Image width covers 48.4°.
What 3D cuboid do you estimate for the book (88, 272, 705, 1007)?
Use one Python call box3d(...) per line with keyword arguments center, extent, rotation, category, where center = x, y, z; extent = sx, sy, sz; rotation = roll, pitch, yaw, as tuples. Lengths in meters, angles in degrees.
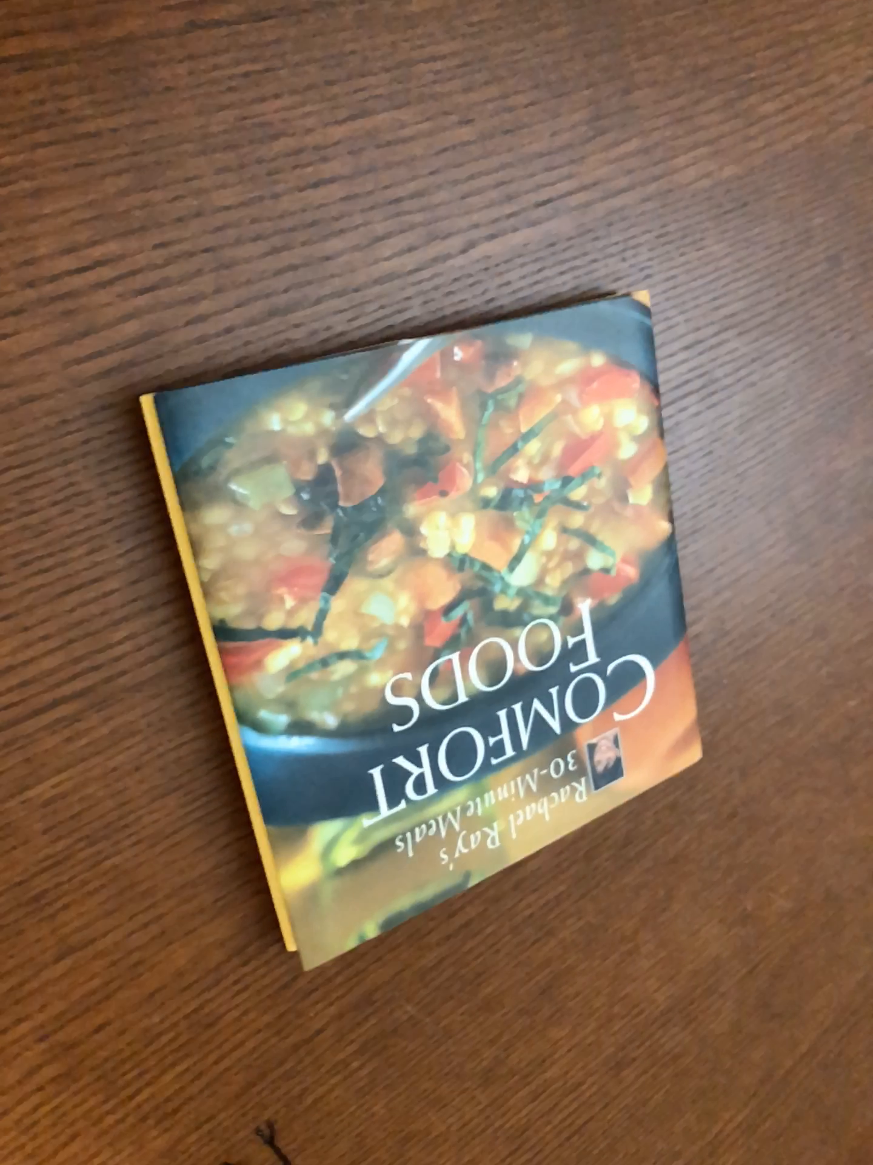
box3d(center=(0.005, 0.011, 0.354), extent=(0.201, 0.030, 0.210), rotation=(-19, 108, -28), category="book")
